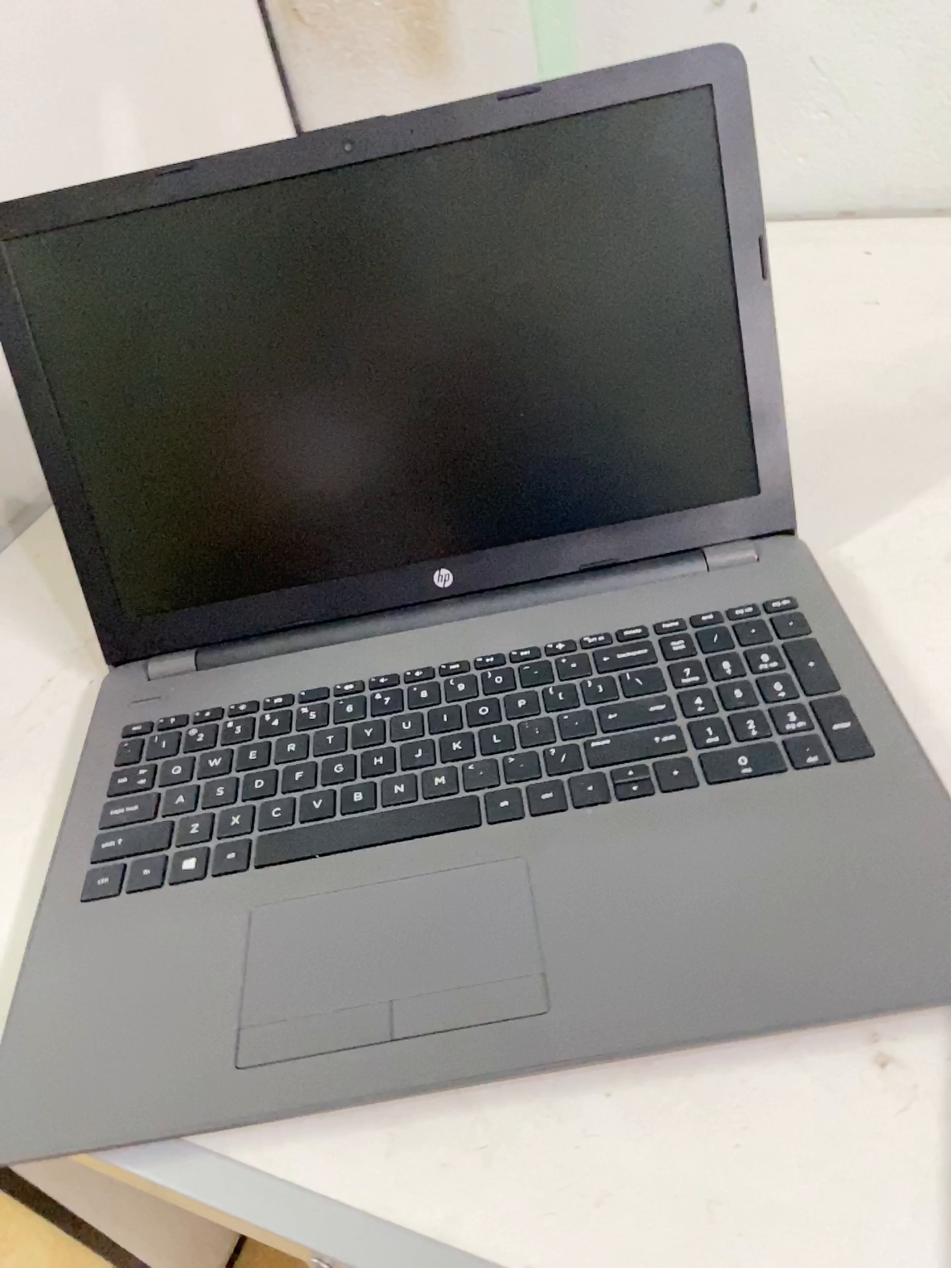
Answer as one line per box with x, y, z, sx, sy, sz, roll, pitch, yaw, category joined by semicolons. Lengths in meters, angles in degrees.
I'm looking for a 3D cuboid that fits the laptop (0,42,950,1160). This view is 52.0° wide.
-0.028;-0.045;0.408;0.380;0.206;0.366;-12;43;3;laptop
